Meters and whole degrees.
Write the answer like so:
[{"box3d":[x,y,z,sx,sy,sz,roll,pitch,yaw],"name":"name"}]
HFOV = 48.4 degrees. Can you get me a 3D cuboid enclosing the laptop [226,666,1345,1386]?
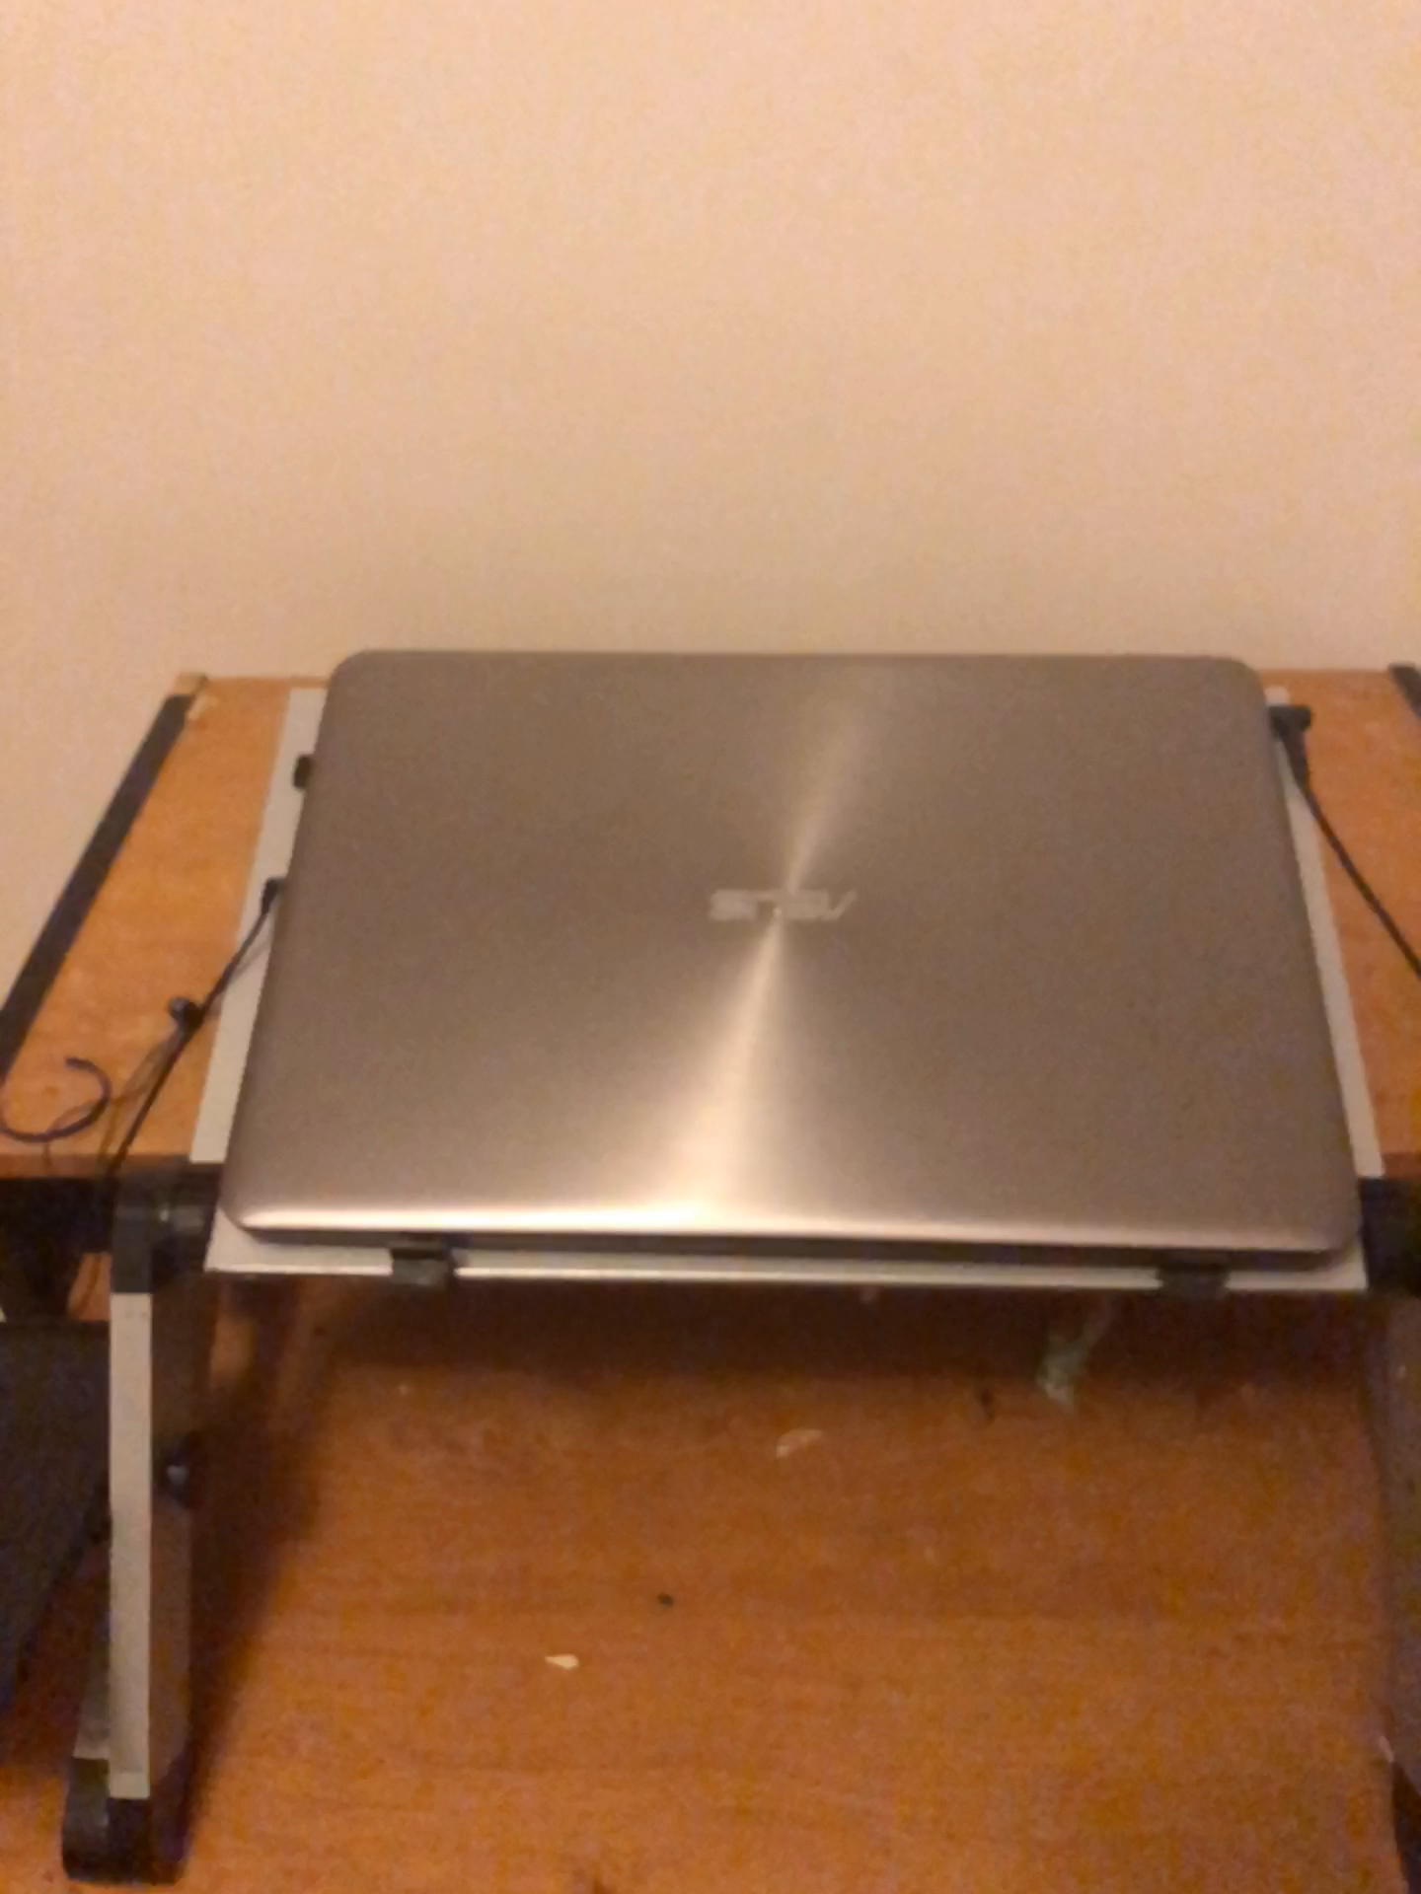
[{"box3d":[0.025,0.017,0.604,0.361,0.071,0.250,1,55,4],"name":"laptop"}]
